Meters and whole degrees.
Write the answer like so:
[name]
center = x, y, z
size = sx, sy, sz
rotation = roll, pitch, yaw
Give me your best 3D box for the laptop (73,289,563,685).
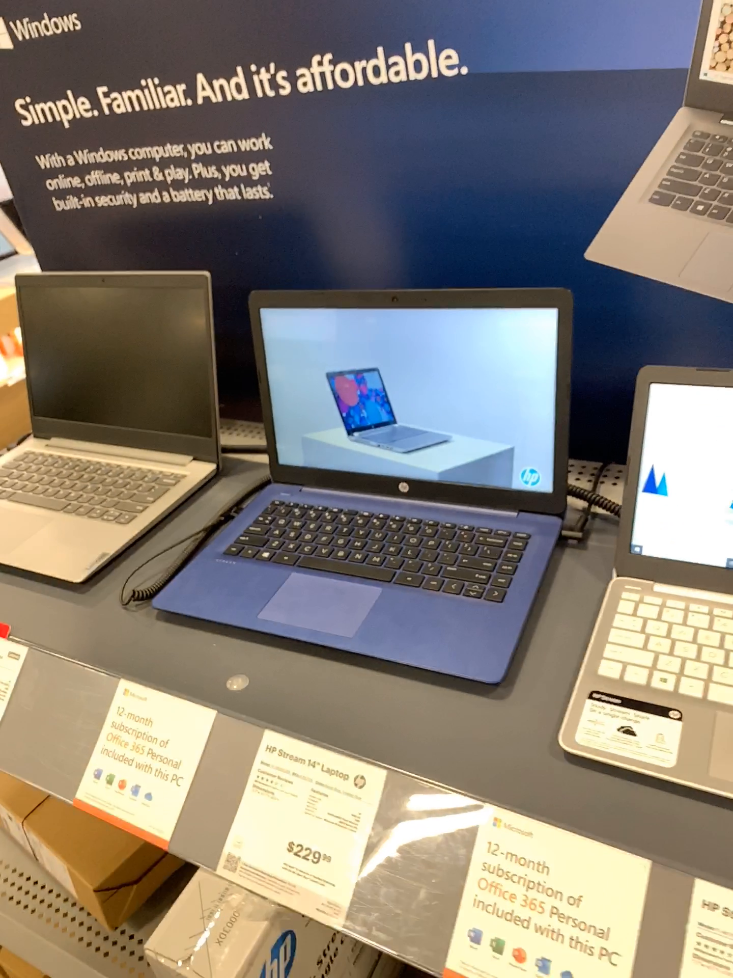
[laptop]
center = -0.016, -0.030, 0.665
size = 0.322, 0.207, 0.253
rotation = 7, 35, 24
